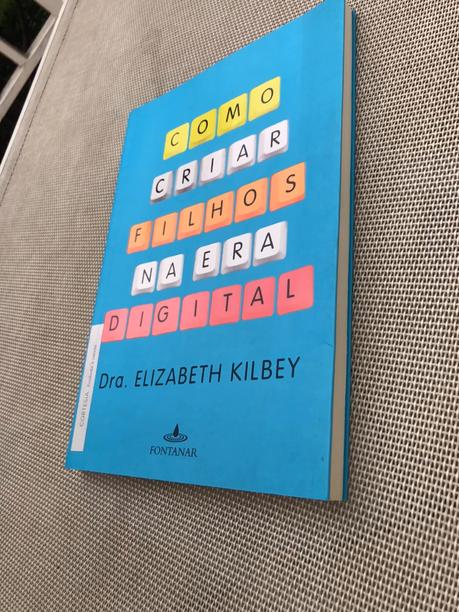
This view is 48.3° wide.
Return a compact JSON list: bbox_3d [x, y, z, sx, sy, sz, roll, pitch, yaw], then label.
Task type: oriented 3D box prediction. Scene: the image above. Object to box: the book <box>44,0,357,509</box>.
[{"bbox_3d":[-0.017,-0.028,0.261,0.163,0.020,0.228,-10,66,38],"label":"book"}]
